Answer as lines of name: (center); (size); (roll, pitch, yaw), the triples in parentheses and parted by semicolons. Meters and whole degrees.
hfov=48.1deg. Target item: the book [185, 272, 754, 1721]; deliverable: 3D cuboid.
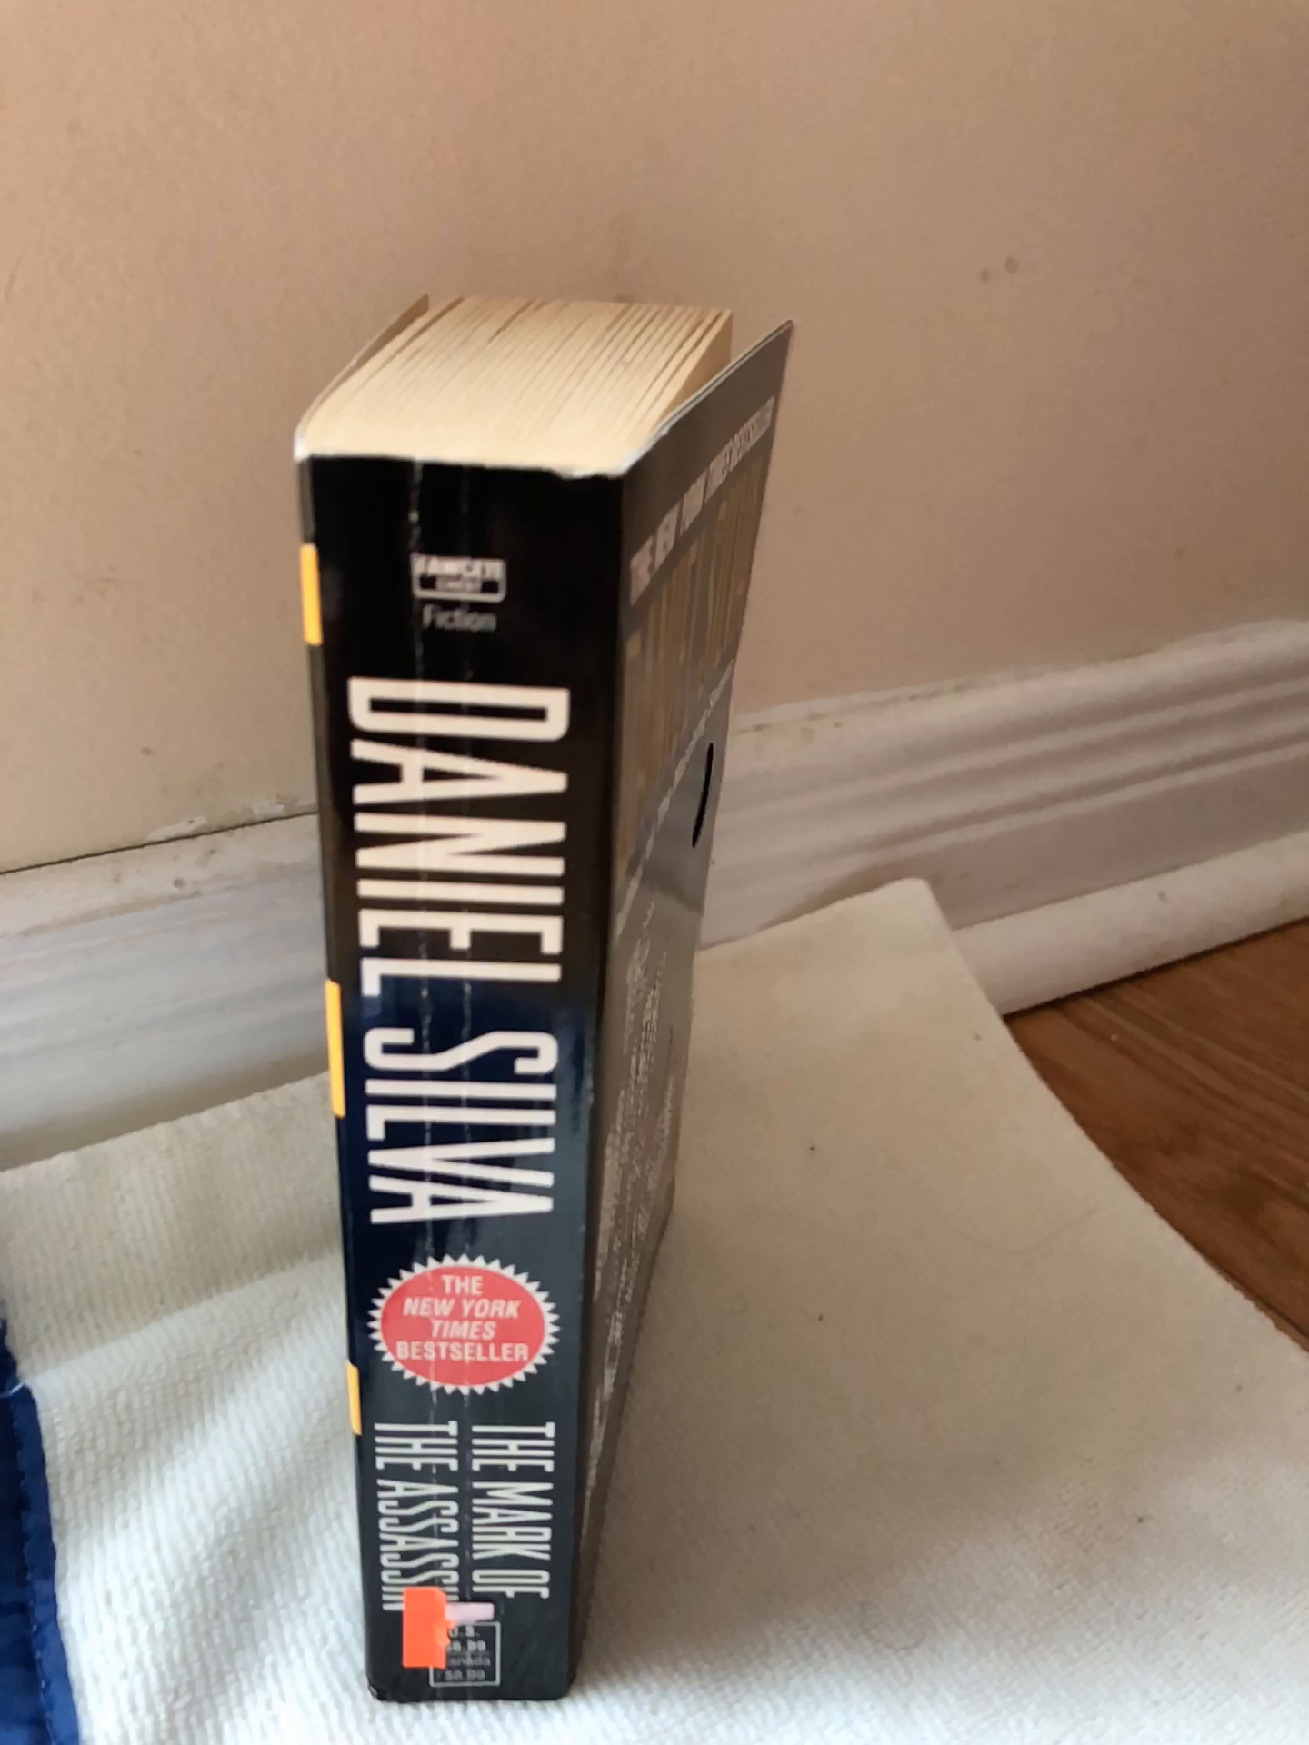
book: (-0.015, 0.011, 0.214); (0.045, 0.169, 0.119); (4, 28, 3)
